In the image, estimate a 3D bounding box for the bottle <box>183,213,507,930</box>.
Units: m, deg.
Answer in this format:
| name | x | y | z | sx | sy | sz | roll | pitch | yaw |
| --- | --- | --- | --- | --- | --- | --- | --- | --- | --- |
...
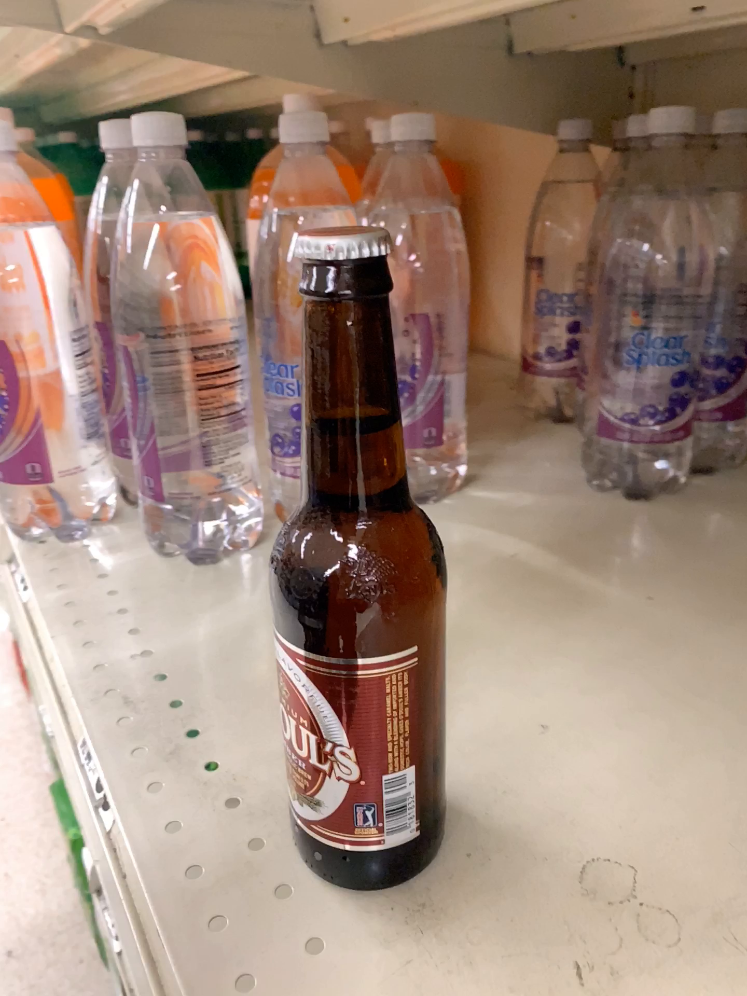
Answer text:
| name | x | y | z | sx | sy | sz | roll | pitch | yaw |
| --- | --- | --- | --- | --- | --- | --- | --- | --- | --- |
| bottle | -0.007 | 0.025 | 0.257 | 0.070 | 0.219 | 0.070 | -2 | 24 | 1 |
